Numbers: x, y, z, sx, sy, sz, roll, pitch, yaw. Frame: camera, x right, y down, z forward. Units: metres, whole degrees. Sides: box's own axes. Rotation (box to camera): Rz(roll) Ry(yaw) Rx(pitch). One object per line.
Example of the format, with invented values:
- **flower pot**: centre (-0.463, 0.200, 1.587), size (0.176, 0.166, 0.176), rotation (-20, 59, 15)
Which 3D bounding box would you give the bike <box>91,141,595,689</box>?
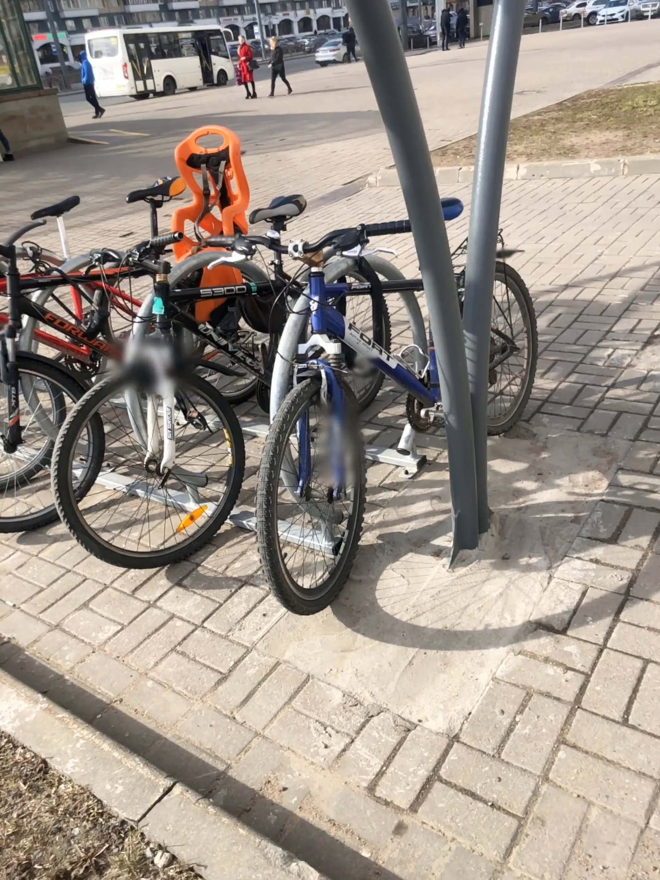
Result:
- **bike**: centre (0.234, -0.280, 2.208), size (0.627, 0.960, 1.665), rotation (13, 34, 33)
